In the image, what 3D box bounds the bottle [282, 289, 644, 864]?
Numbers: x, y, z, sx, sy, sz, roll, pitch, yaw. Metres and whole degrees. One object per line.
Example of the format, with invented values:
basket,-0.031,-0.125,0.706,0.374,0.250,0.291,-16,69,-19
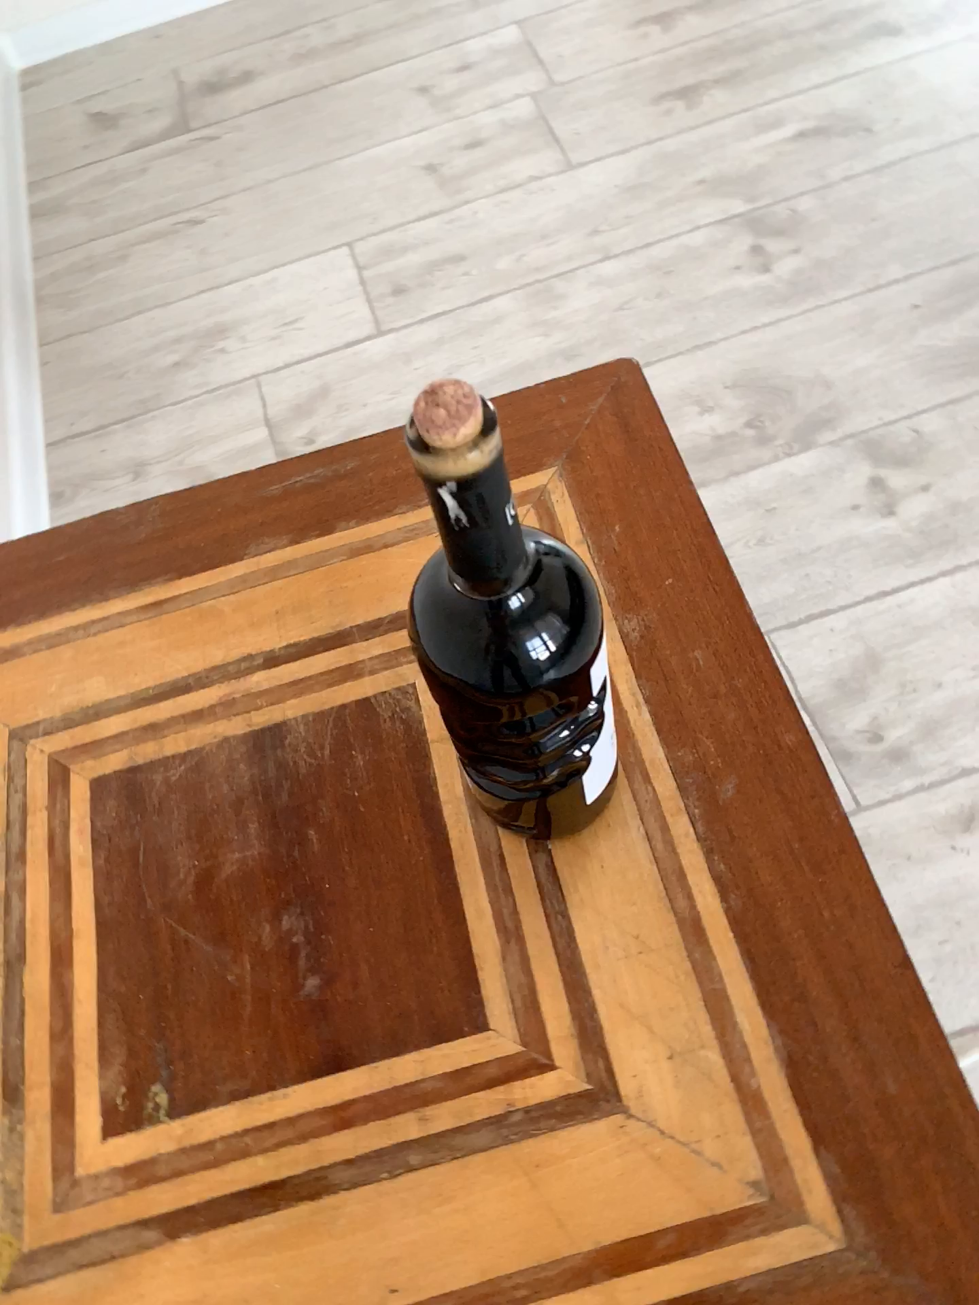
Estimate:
bottle,0.005,-0.005,0.424,0.090,0.269,0.090,-5,60,8
